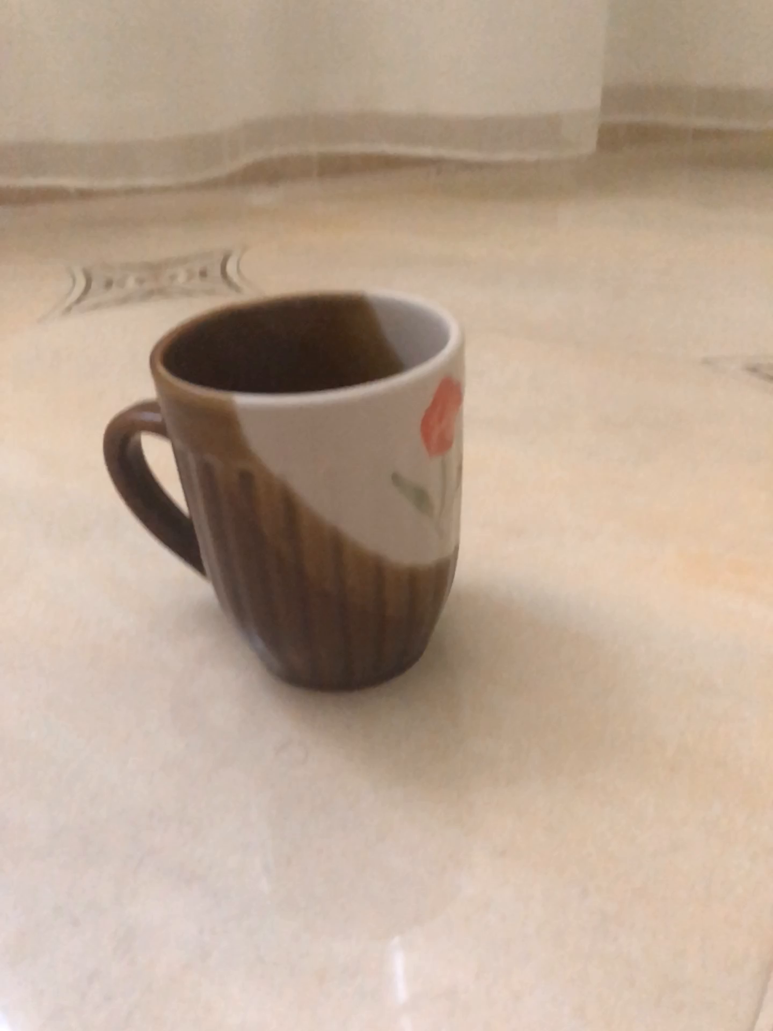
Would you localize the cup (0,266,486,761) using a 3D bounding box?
[{"bbox_3d":[-0.037,-0.010,0.233,0.104,0.086,0.076,18,37,32],"label":"cup"}]
